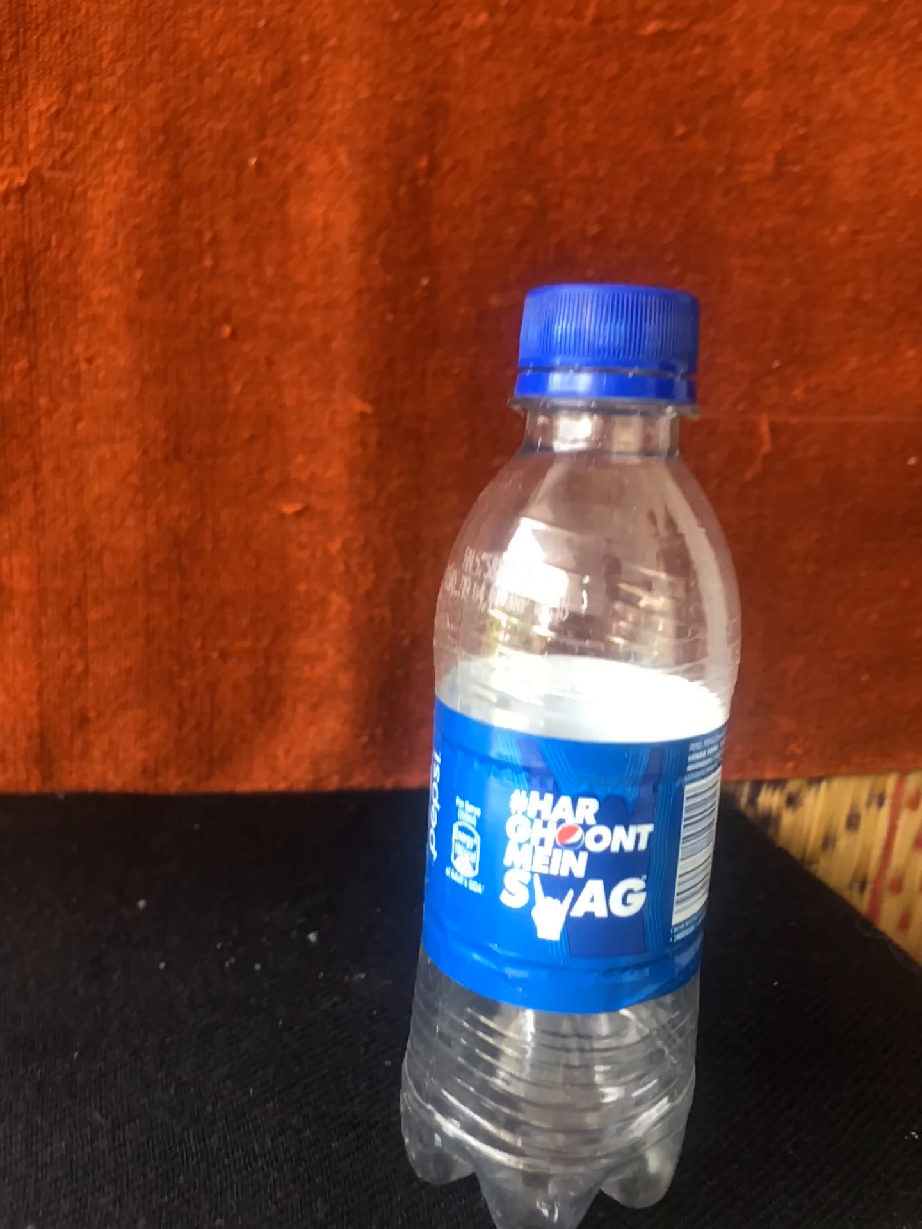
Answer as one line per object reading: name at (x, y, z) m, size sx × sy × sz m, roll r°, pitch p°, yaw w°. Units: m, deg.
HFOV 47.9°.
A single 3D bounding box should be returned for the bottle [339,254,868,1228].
bottle at (0.021, 0.030, 0.183) m, size 0.060 × 0.169 × 0.050 m, roll 8°, pitch 14°, yaw 11°
